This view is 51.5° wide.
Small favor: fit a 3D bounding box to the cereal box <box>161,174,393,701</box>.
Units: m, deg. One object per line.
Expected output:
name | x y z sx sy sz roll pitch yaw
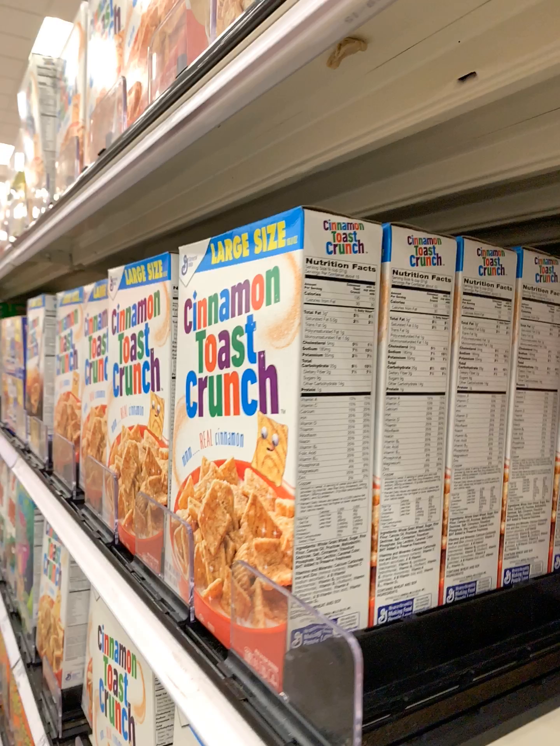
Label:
cereal box | -0.015 0.033 0.417 0.070 0.290 0.190 1 2 -31
